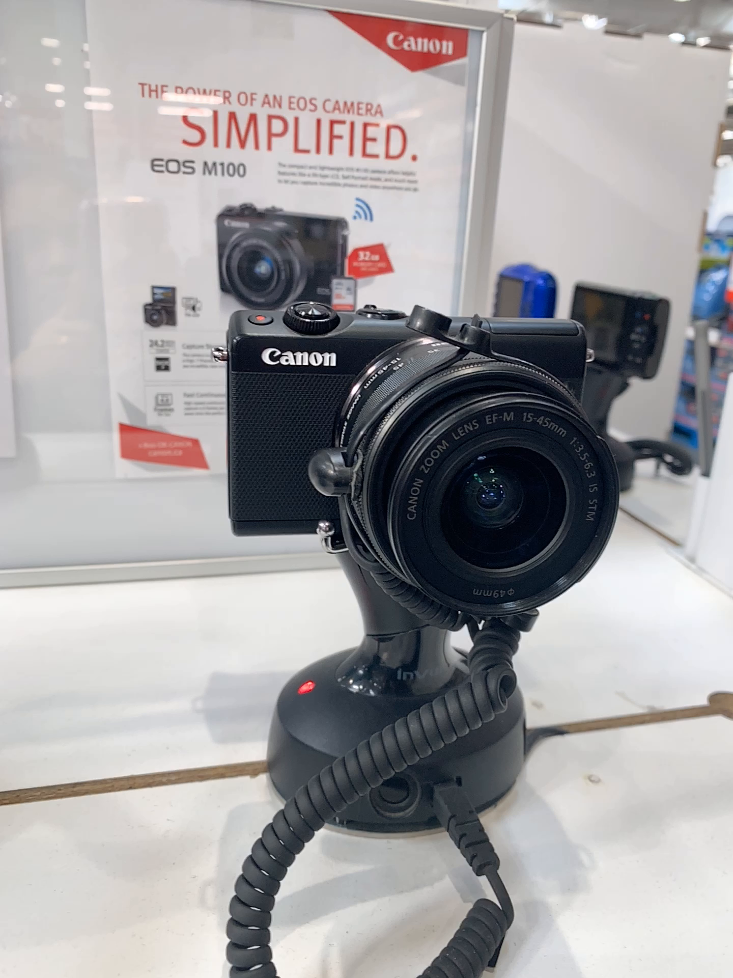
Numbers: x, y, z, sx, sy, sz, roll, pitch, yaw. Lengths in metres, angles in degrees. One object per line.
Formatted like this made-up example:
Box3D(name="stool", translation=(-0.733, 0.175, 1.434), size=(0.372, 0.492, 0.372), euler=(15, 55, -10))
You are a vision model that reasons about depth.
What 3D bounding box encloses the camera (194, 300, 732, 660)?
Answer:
Box3D(name="camera", translation=(0.014, -0.011, 0.196), size=(0.110, 0.066, 0.093), euler=(0, 14, -11))
